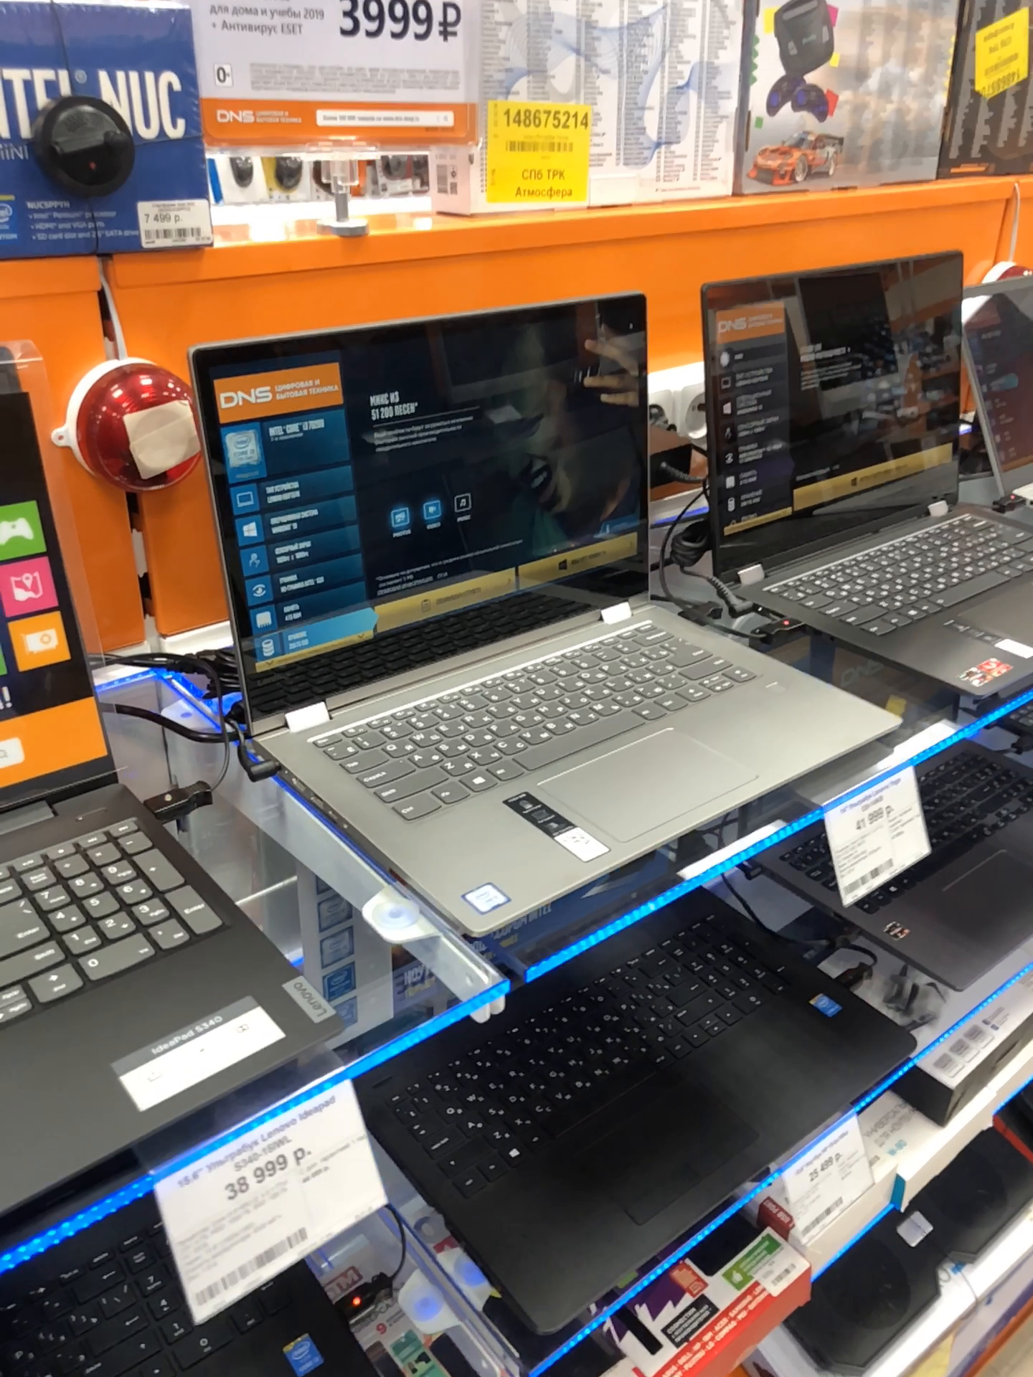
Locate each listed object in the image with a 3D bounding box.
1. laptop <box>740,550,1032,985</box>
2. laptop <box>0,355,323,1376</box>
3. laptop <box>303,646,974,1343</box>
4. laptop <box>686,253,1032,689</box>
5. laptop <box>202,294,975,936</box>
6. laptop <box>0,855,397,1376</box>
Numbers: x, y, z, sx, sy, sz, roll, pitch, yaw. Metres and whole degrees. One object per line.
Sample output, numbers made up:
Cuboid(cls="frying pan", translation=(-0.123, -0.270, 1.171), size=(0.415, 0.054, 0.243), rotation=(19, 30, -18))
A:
Cuboid(cls="laptop", translation=(0.406, 0.049, 1.015), size=(0.309, 0.213, 0.237), rotation=(-21, 34, -31))
Cuboid(cls="laptop", translation=(-0.276, 0.030, 0.395), size=(0.305, 0.212, 0.279), rotation=(-21, 35, -38))
Cuboid(cls="laptop", translation=(0.082, 0.168, 0.789), size=(0.368, 0.207, 0.263), rotation=(-22, 36, -34))
Cuboid(cls="laptop", translation=(0.329, -0.180, 0.828), size=(0.290, 0.209, 0.248), rotation=(-20, 35, -33))
Cuboid(cls="laptop", translation=(0.036, -0.075, 0.626), size=(0.316, 0.212, 0.238), rotation=(-20, 34, -33))
Cuboid(cls="laptop", translation=(-0.284, 0.304, 0.537), size=(0.379, 0.235, 0.239), rotation=(-20, 35, -33))
